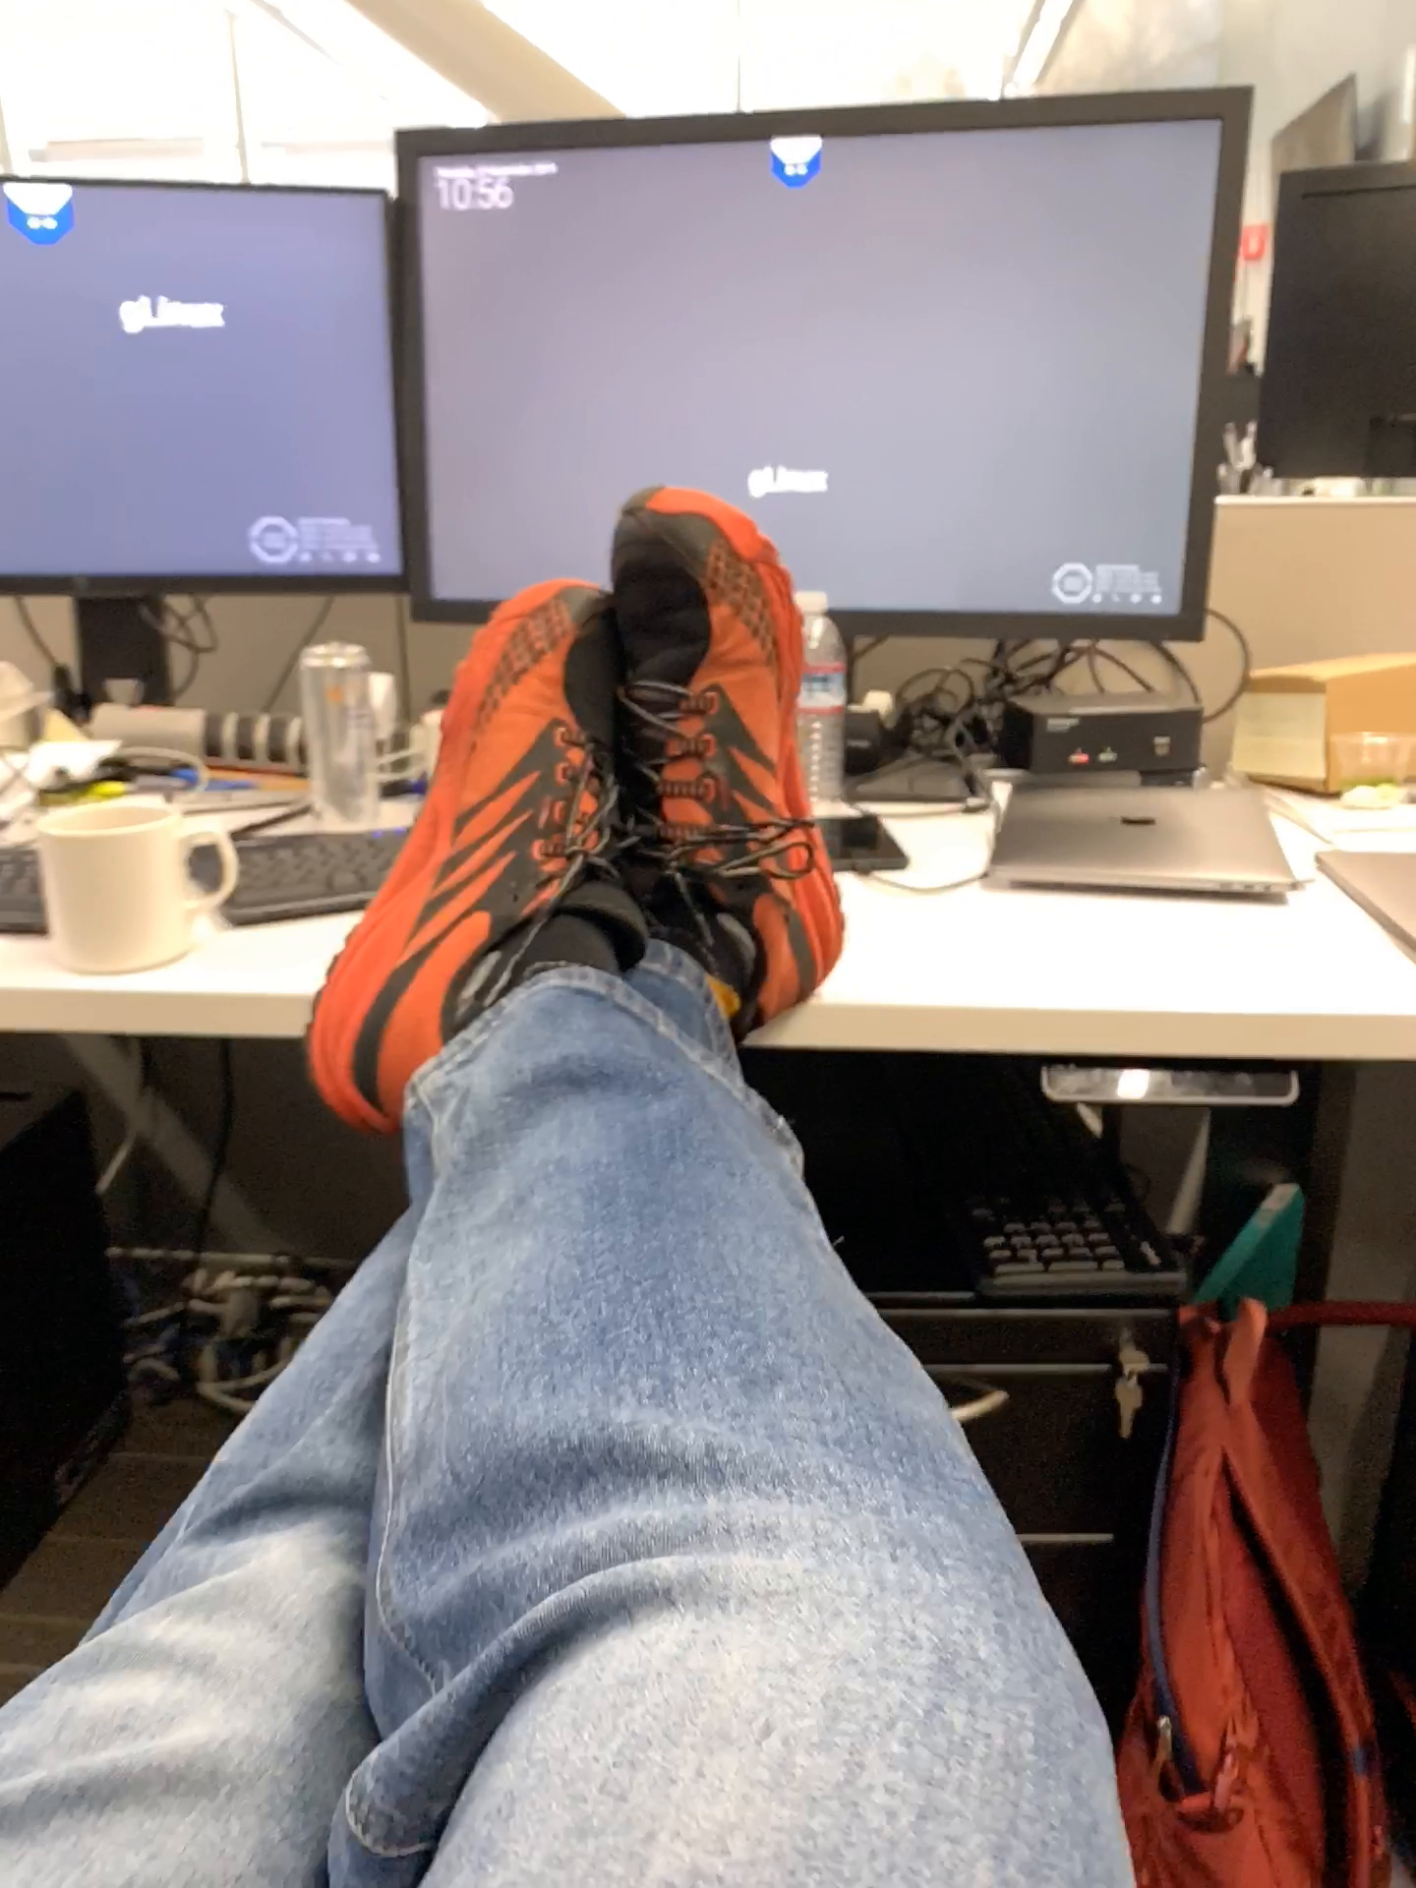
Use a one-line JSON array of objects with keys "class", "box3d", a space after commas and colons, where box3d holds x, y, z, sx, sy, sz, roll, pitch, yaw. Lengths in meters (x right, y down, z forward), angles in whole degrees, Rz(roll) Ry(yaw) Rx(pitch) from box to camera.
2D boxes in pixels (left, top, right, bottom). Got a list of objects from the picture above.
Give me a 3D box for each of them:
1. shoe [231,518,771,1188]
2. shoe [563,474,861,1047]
[{"class": "shoe", "box3d": [-0.094, -0.050, 0.692, 0.133, 0.289, 0.091, 12, -14, 38]}, {"class": "shoe", "box3d": [0.006, -0.096, 0.758, 0.107, 0.271, 0.082, 8, 22, 35]}]
